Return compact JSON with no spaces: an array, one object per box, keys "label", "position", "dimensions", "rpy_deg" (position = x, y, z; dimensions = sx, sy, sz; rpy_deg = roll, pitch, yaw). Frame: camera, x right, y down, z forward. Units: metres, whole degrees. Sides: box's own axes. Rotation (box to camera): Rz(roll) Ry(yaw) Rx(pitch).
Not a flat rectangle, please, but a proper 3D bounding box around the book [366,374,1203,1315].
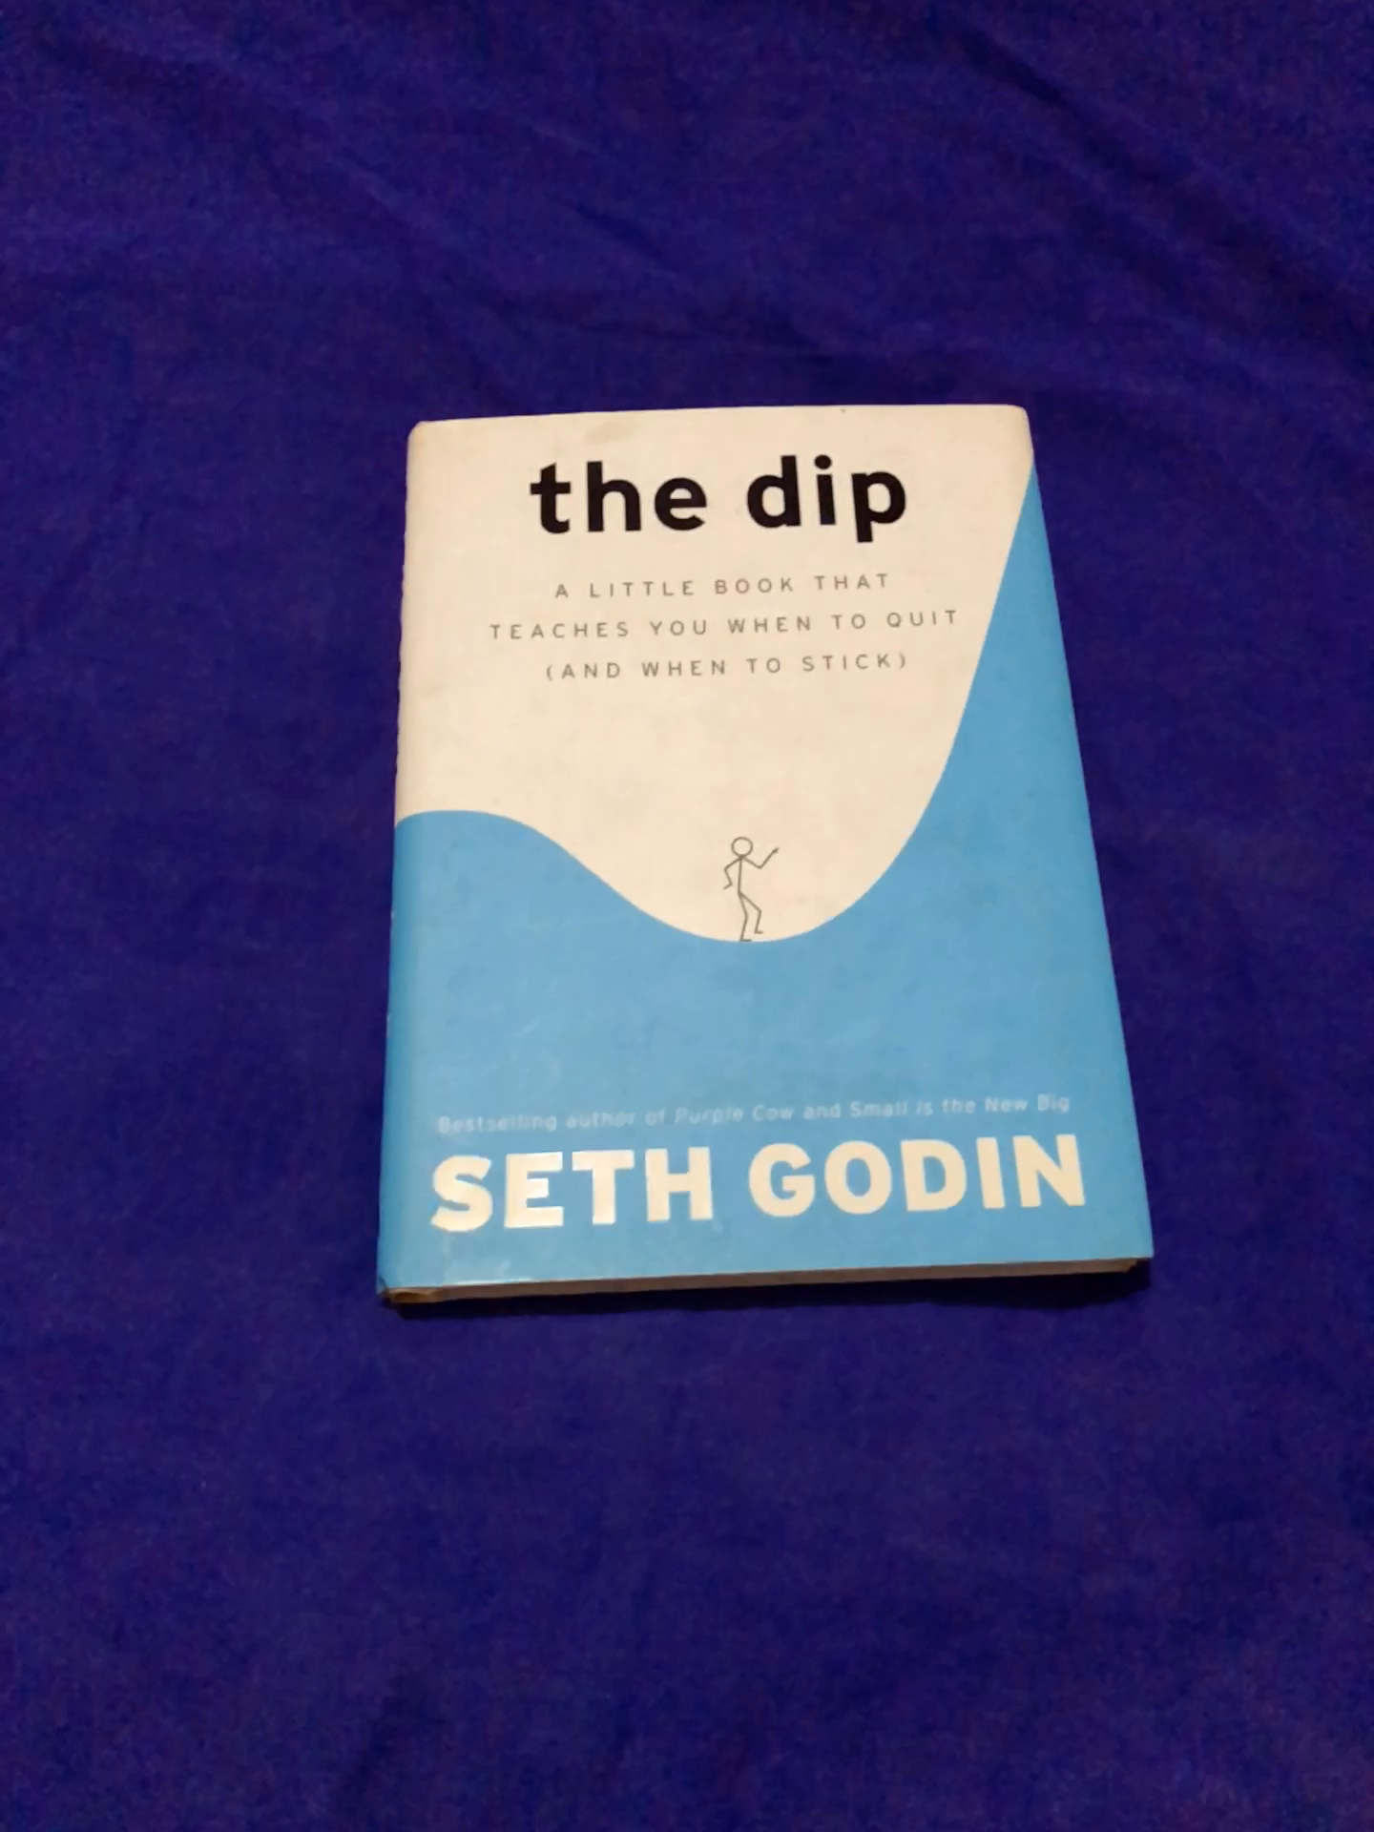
[{"label":"book","position":[0.012,-0.024,0.302],"dimensions":[0.140,0.020,0.190],"rpy_deg":[-2,67,-2]}]
